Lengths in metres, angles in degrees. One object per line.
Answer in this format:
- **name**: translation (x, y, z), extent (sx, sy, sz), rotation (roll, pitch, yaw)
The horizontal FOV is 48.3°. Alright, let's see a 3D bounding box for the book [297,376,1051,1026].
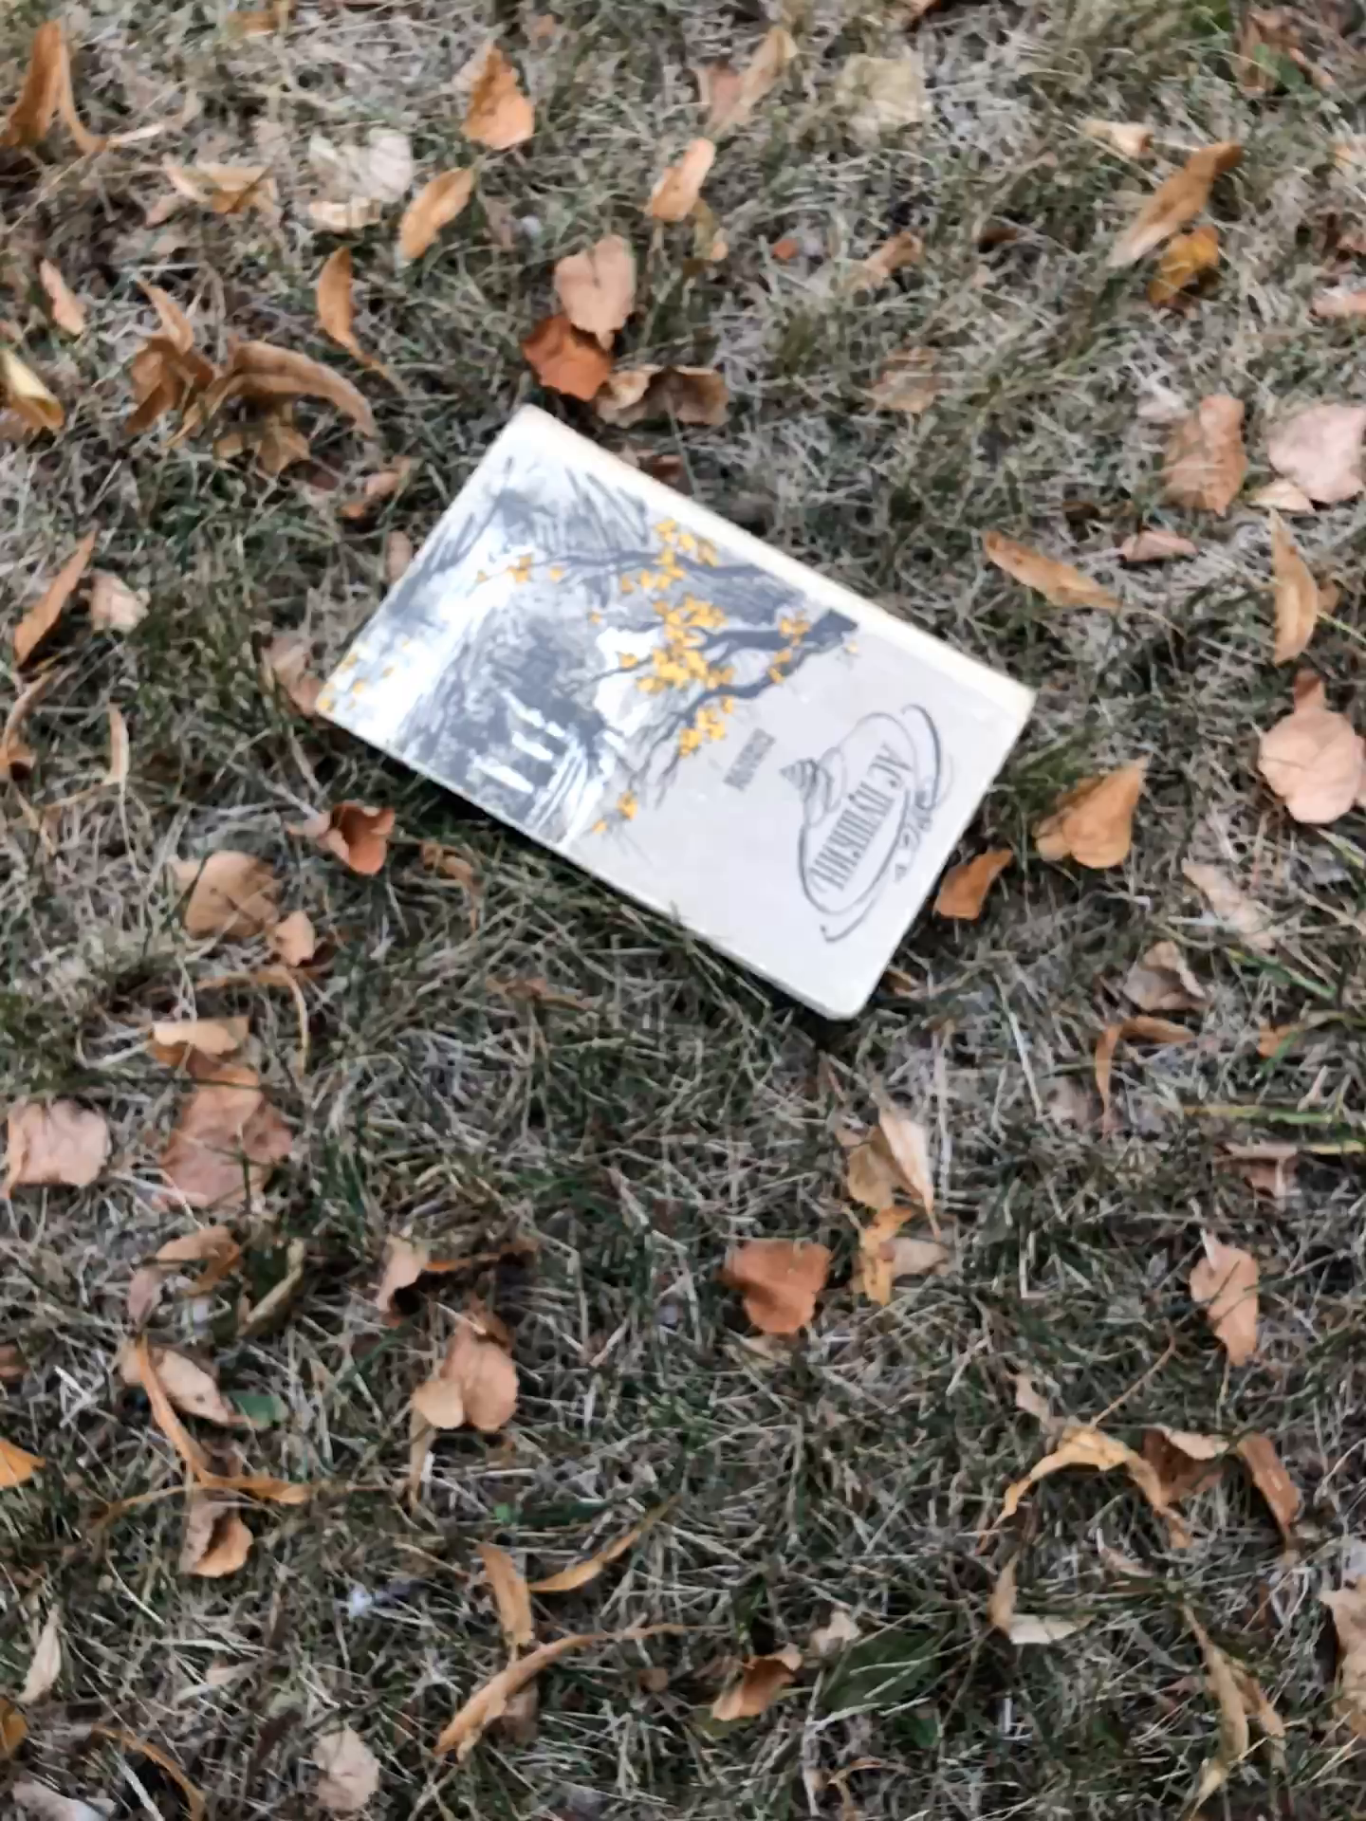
- **book**: translation (-0.002, -0.073, 0.515), extent (0.210, 0.021, 0.135), rotation (30, 78, 5)
